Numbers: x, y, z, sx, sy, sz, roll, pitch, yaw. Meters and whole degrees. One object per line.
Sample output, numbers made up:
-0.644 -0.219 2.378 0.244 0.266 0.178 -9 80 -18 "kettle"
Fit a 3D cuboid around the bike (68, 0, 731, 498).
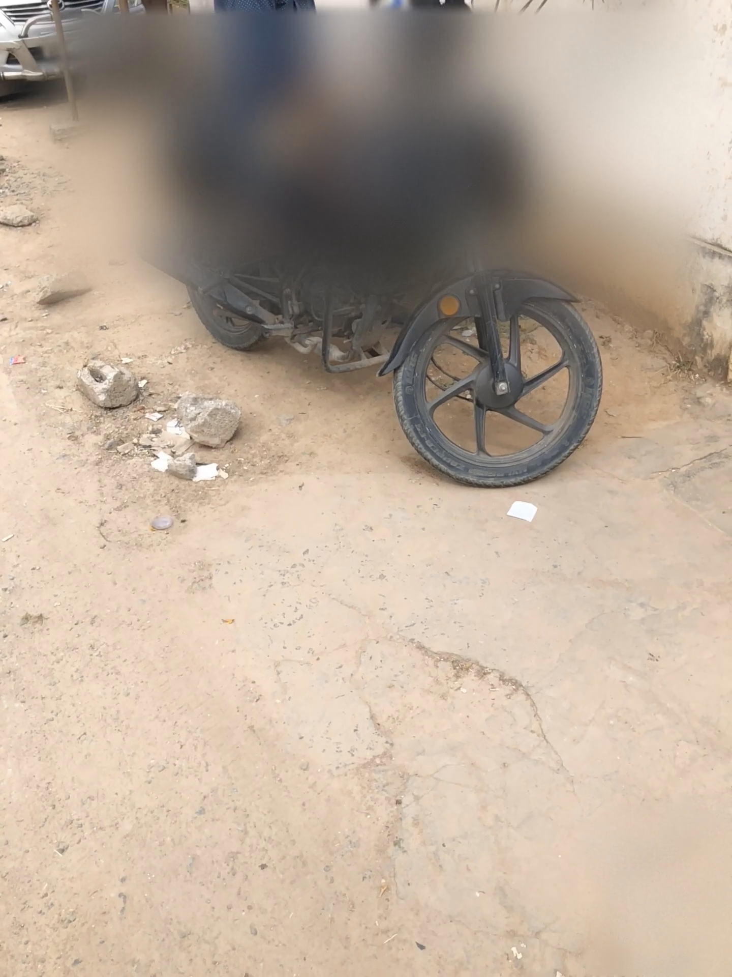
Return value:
0.032 -0.857 2.550 1.665 1.069 0.725 24 42 30 "bike"
